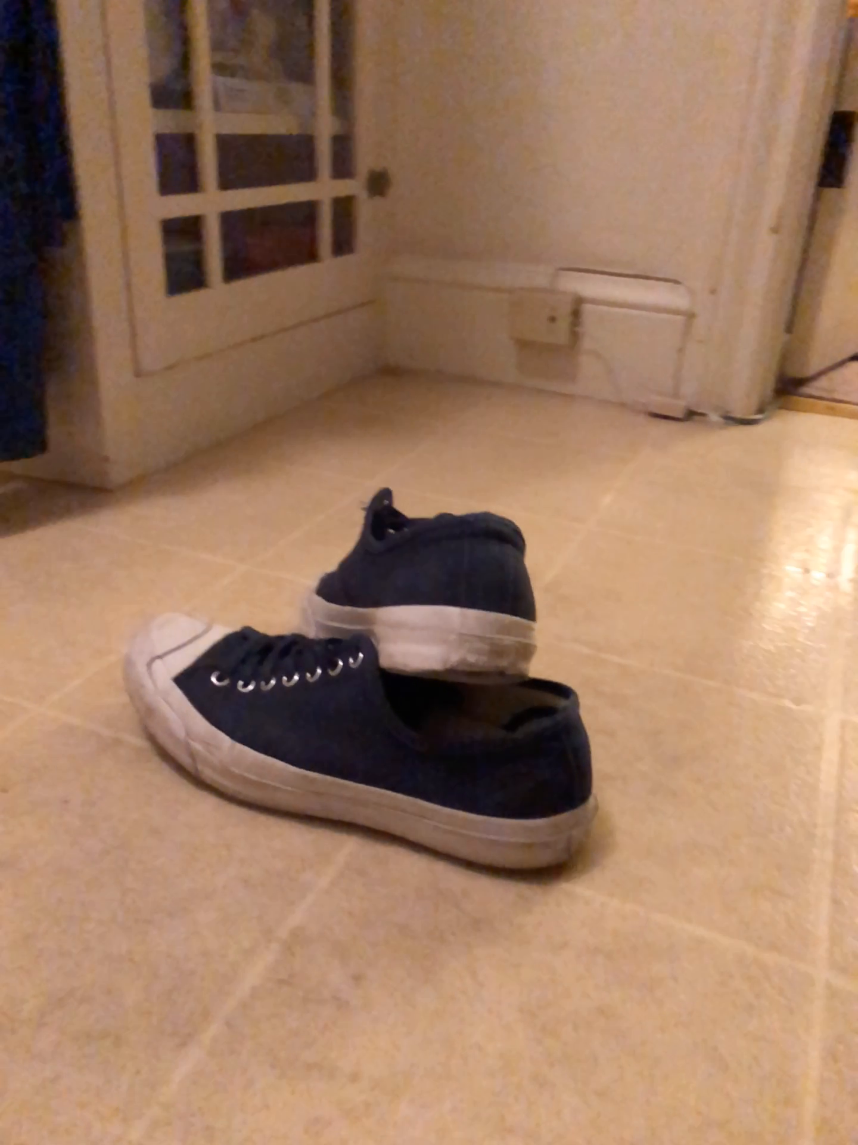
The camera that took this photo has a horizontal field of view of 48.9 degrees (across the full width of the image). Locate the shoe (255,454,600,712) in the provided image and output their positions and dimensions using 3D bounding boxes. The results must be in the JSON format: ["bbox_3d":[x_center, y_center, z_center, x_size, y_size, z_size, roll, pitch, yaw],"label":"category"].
[{"bbox_3d":[-0.022,0.005,0.572,0.100,0.100,0.290,13,-4,-19],"label":"shoe"}]

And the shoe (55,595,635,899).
[{"bbox_3d":[-0.045,0.081,0.515,0.290,0.080,0.110,5,20,22],"label":"shoe"}]
